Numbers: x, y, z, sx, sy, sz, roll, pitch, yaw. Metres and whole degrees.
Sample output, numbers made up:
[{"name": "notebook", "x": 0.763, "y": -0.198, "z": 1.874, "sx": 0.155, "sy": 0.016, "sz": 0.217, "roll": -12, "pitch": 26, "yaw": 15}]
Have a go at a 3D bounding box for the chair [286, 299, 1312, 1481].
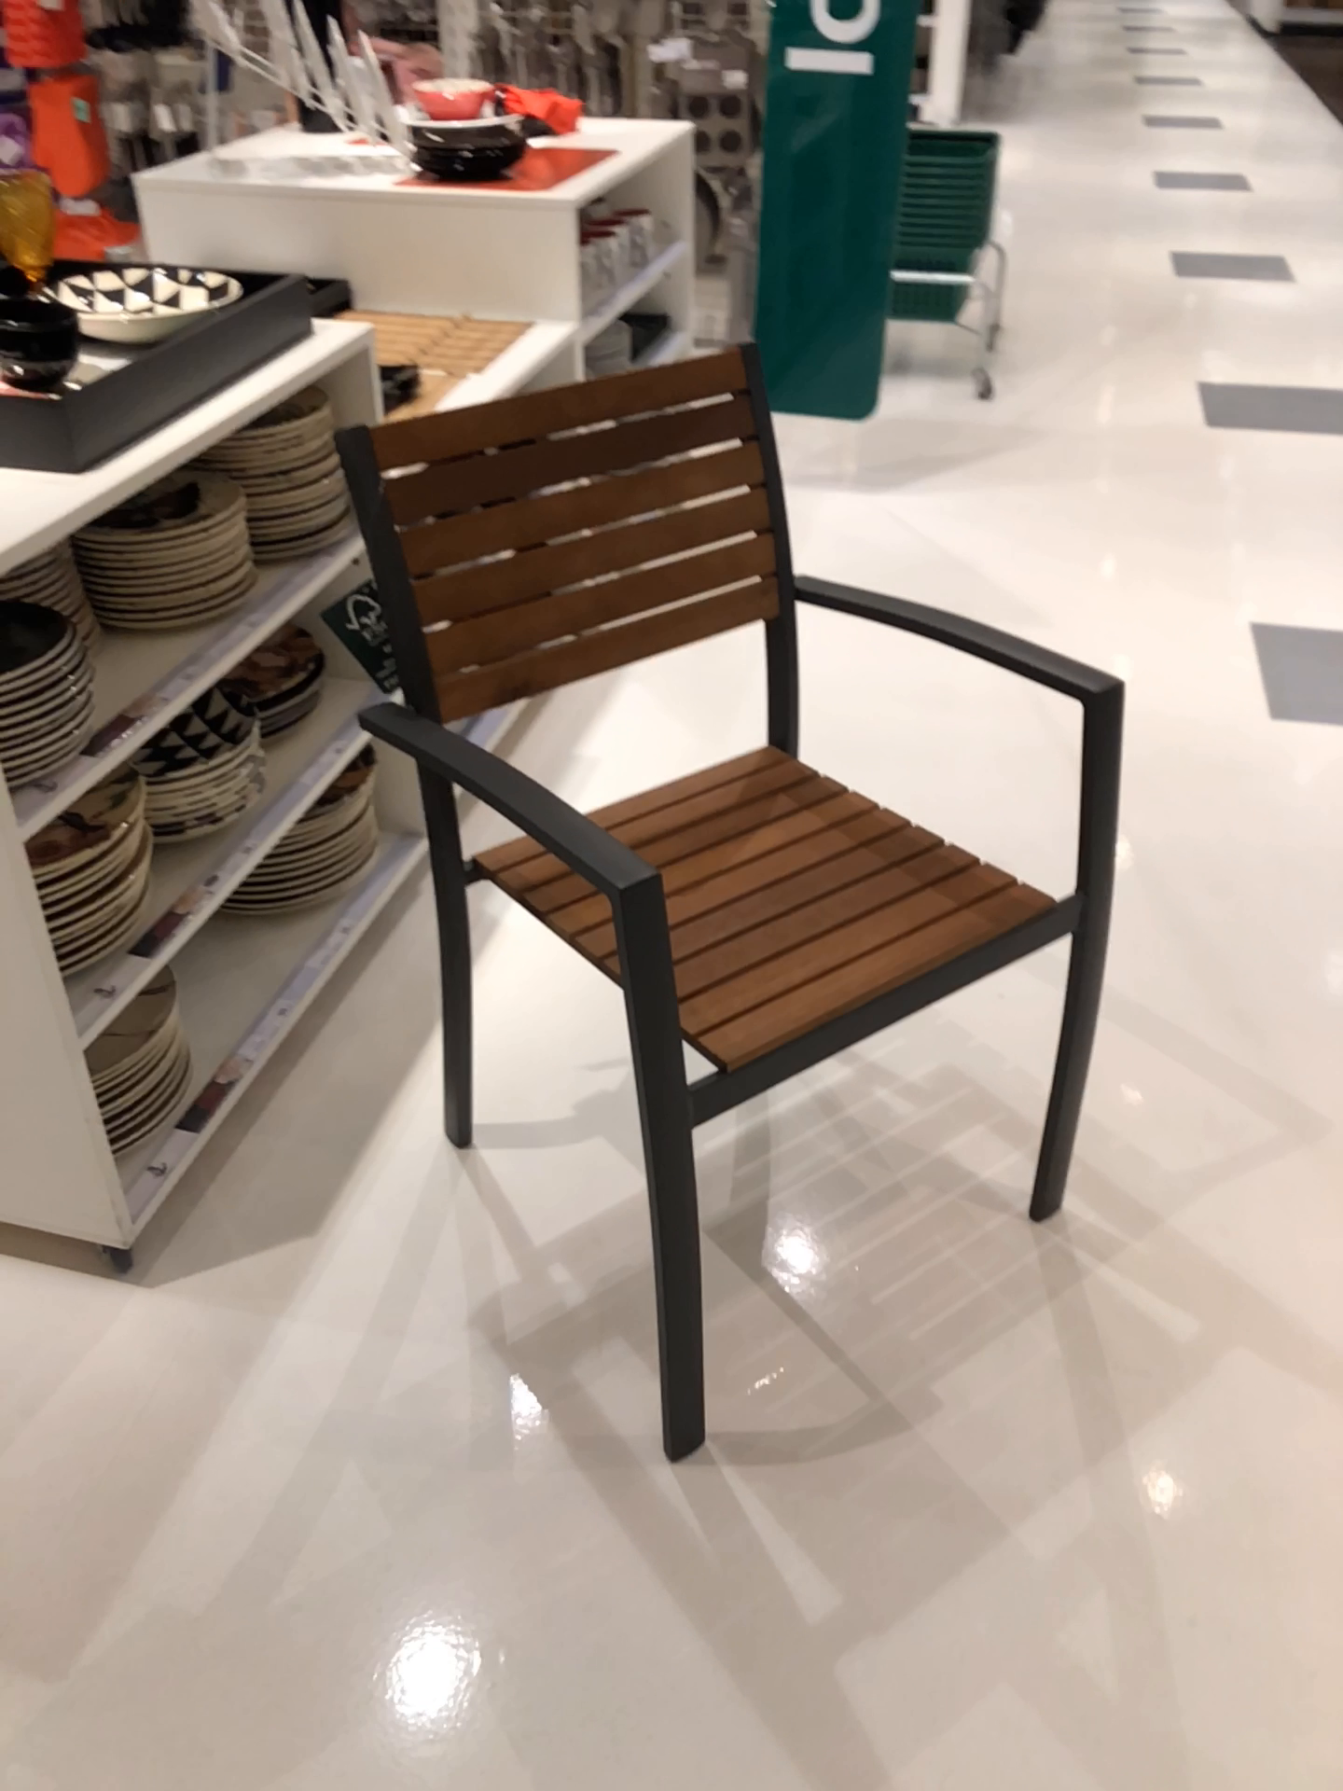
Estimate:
[{"name": "chair", "x": 0.089, "y": -0.044, "z": 1.367, "sx": 0.592, "sy": 0.784, "sz": 0.532, "roll": -23, "pitch": 40, "yaw": -29}]
